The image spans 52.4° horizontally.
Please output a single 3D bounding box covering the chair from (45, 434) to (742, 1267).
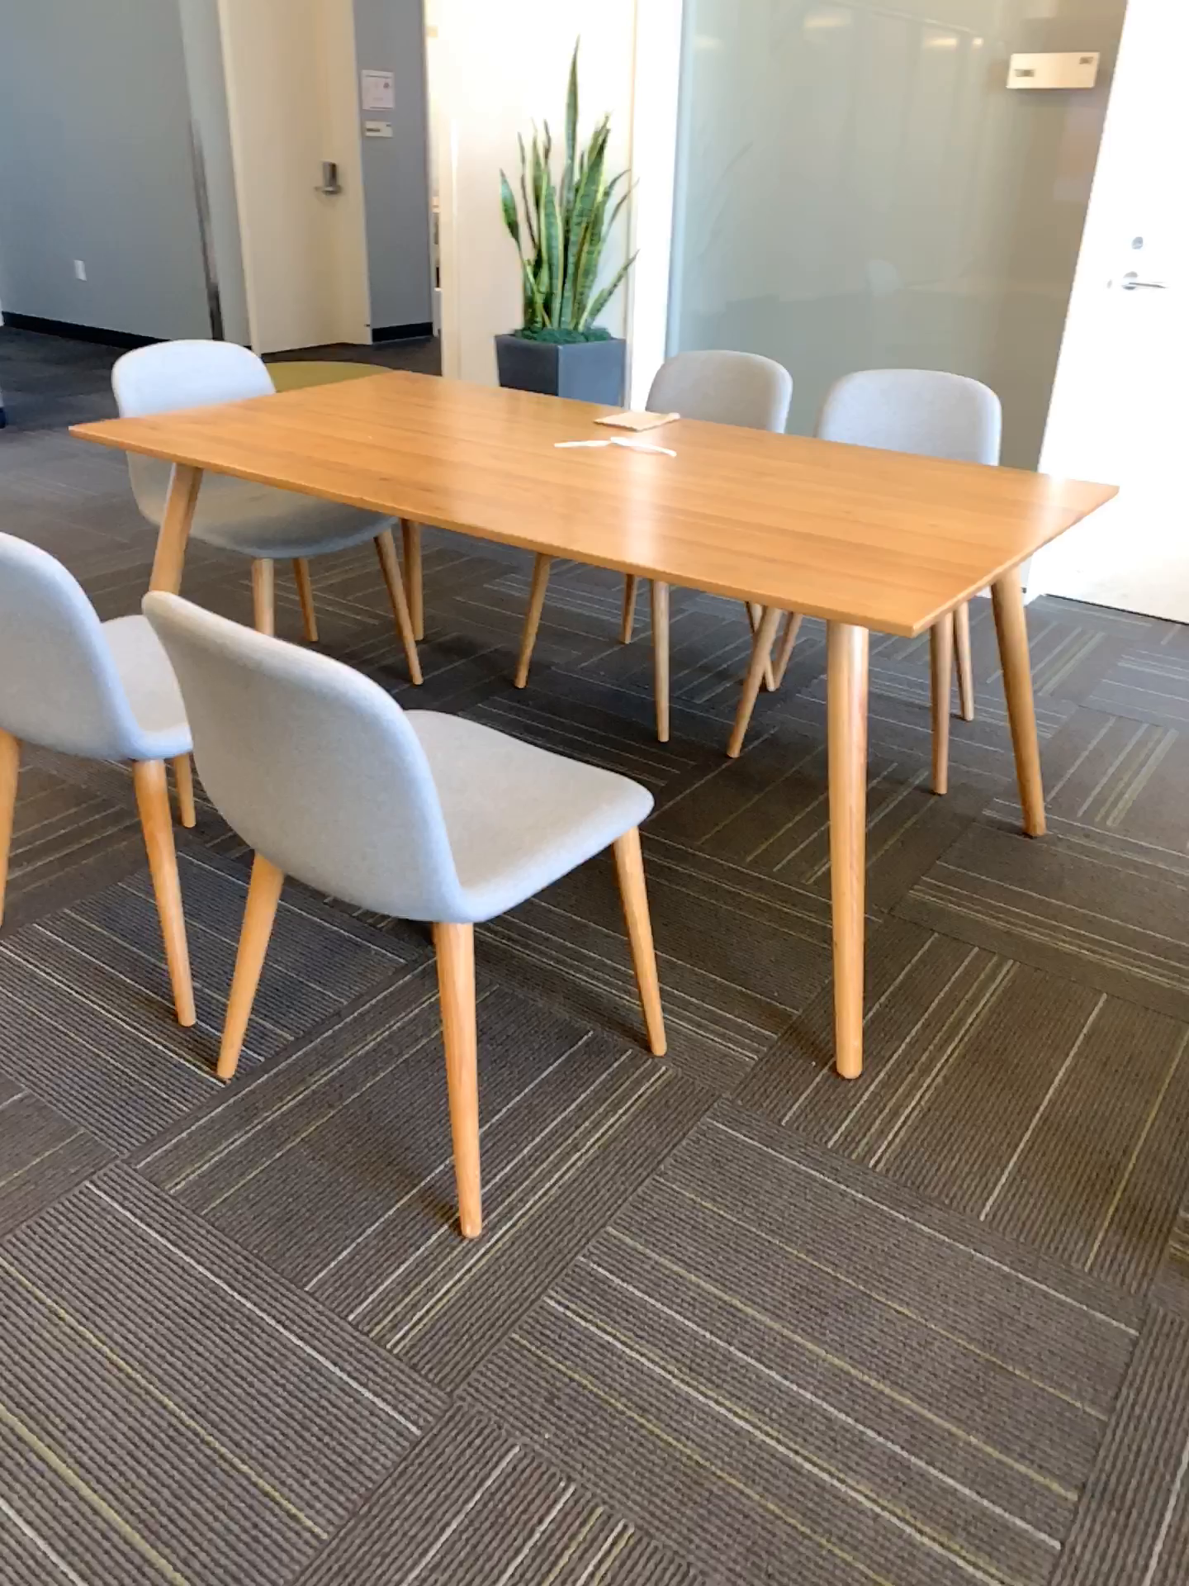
[{"bbox_3d":[-0.218,0.025,1.622,0.572,0.805,0.582,18,34,29],"label":"chair"}]

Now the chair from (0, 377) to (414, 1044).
[{"bbox_3d":[-0.721,-0.171,1.953,0.571,0.805,0.582,15,33,24],"label":"chair"}]
